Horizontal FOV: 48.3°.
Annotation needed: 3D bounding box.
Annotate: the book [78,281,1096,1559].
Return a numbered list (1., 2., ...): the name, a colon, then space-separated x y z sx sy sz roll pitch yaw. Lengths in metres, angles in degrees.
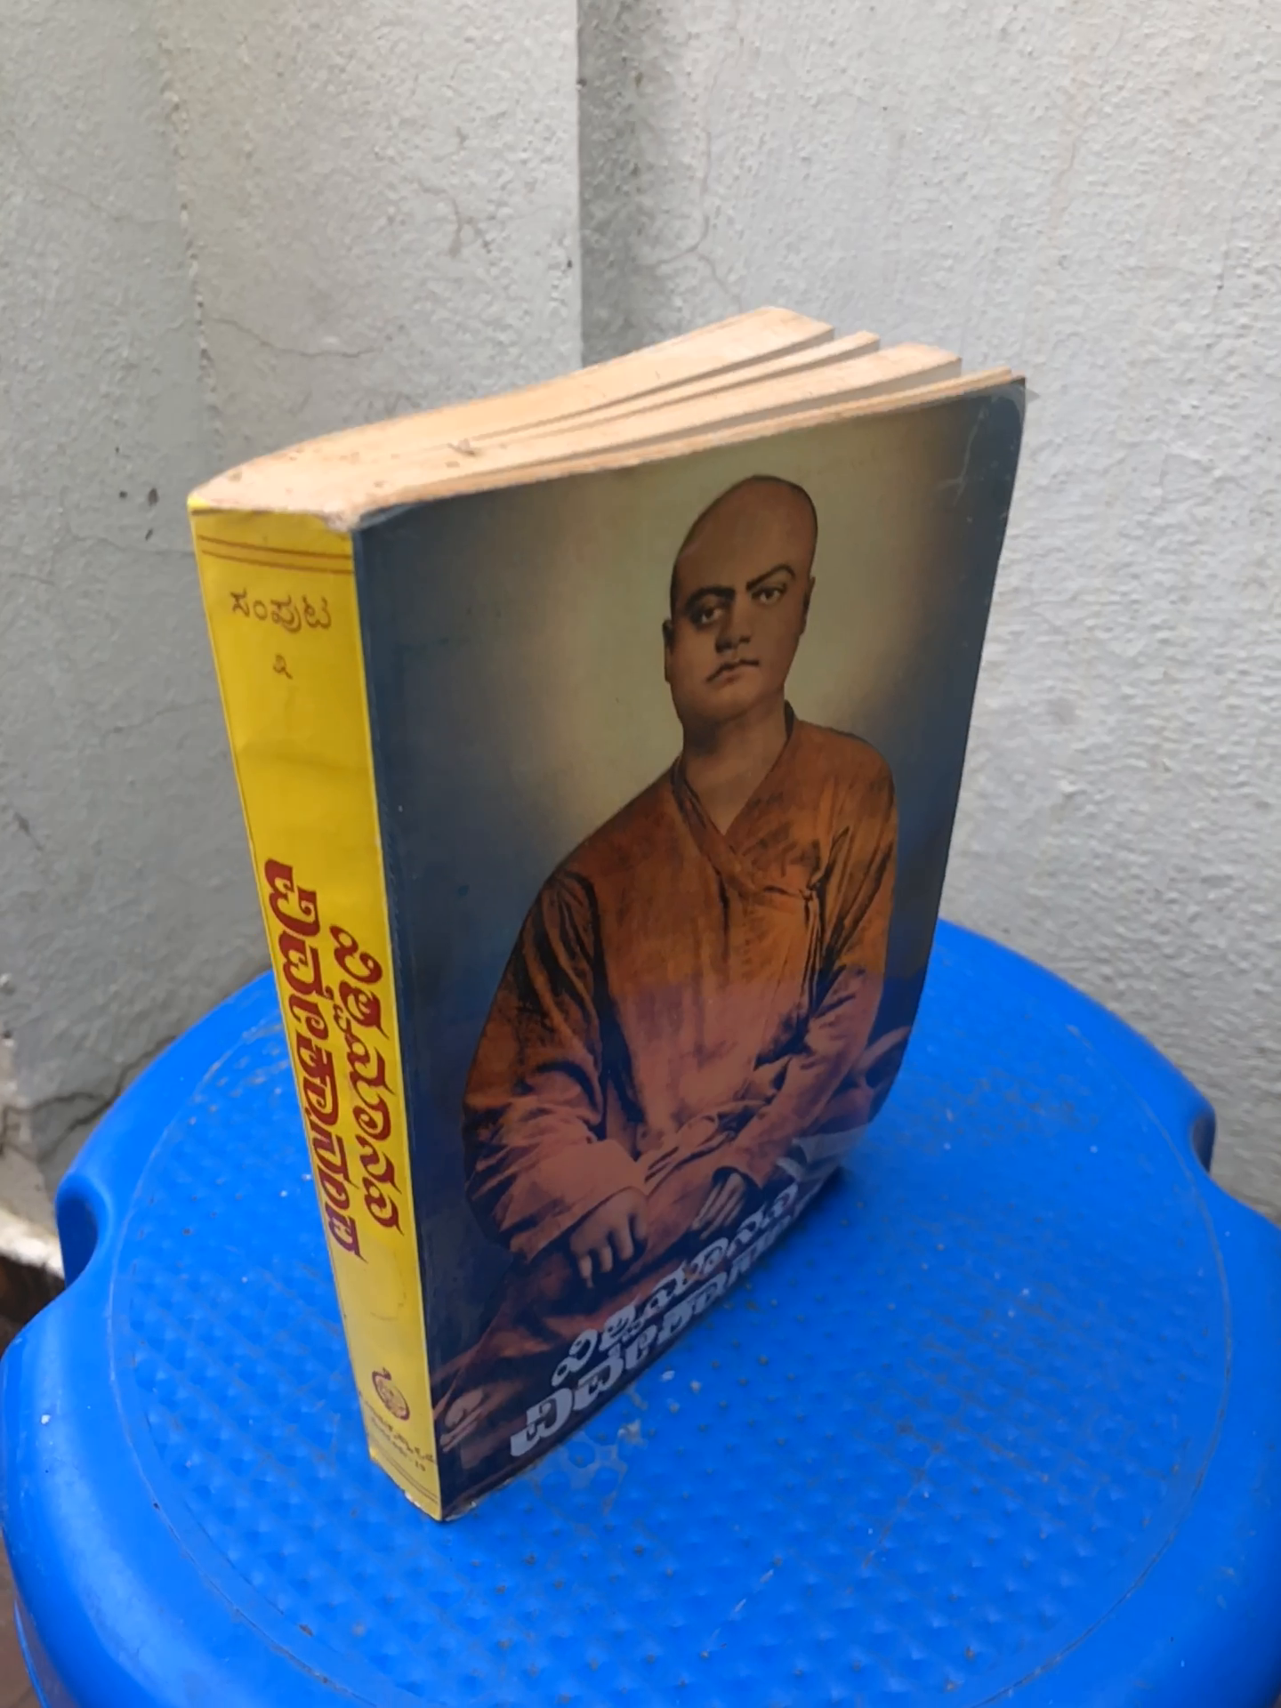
1. book: 0.008 0.003 0.293 0.190 0.199 0.050 -28 39 -37
